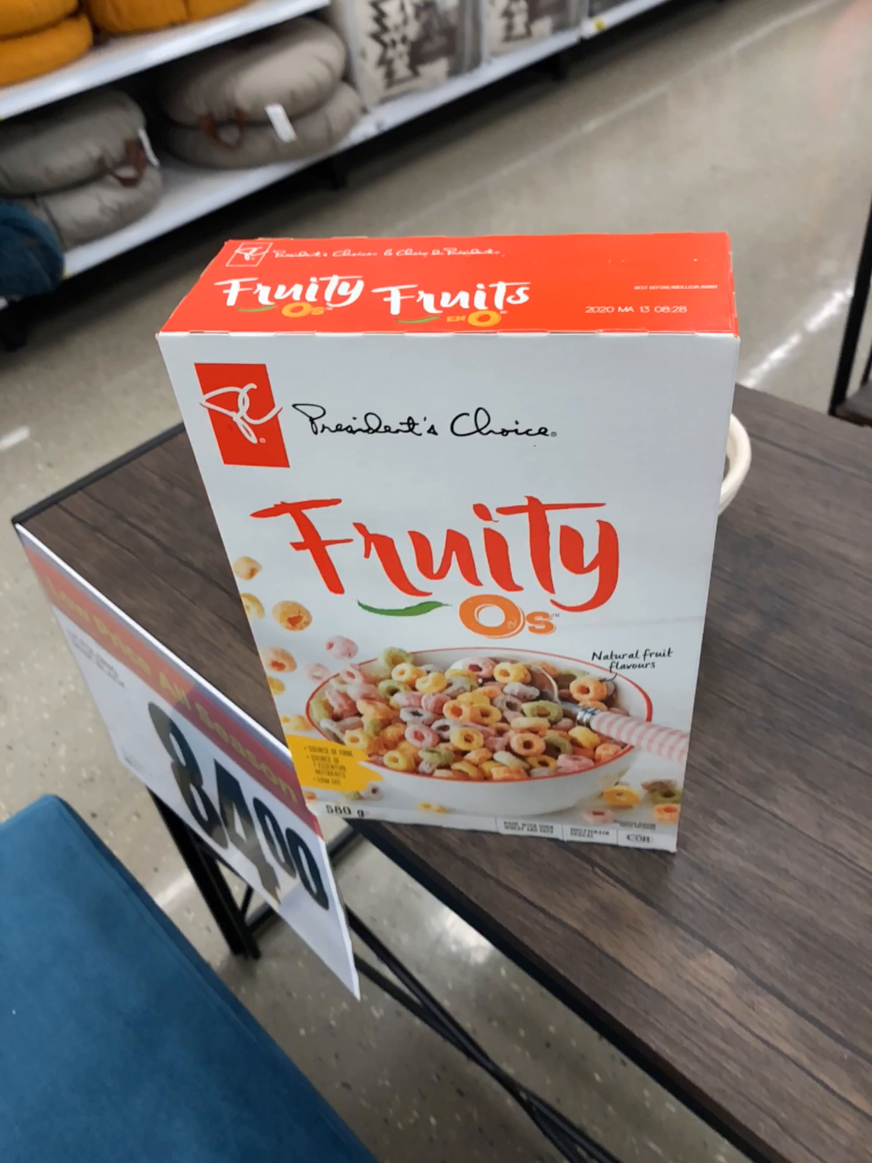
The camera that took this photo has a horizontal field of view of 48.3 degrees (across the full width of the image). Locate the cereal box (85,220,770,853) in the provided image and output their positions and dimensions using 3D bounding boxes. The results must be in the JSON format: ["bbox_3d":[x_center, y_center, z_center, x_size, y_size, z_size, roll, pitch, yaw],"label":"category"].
[{"bbox_3d":[0.010,-0.003,0.428,0.220,0.279,0.080,3,44,11],"label":"cereal box"}]
